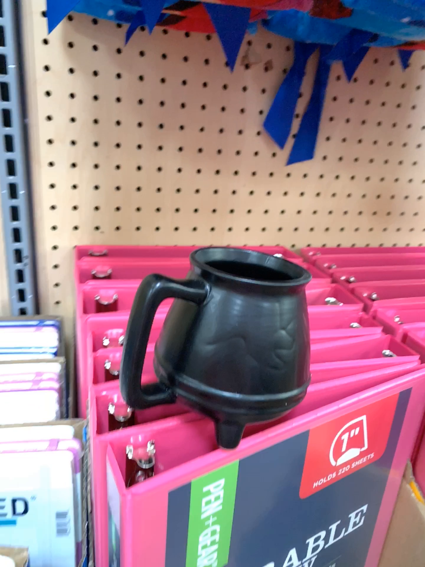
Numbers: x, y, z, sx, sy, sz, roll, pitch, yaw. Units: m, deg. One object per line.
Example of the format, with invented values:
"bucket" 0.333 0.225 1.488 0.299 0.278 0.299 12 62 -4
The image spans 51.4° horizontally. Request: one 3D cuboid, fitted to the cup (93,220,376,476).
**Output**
"cup" 0.006 0.023 0.260 0.122 0.093 0.097 -7 26 -32
